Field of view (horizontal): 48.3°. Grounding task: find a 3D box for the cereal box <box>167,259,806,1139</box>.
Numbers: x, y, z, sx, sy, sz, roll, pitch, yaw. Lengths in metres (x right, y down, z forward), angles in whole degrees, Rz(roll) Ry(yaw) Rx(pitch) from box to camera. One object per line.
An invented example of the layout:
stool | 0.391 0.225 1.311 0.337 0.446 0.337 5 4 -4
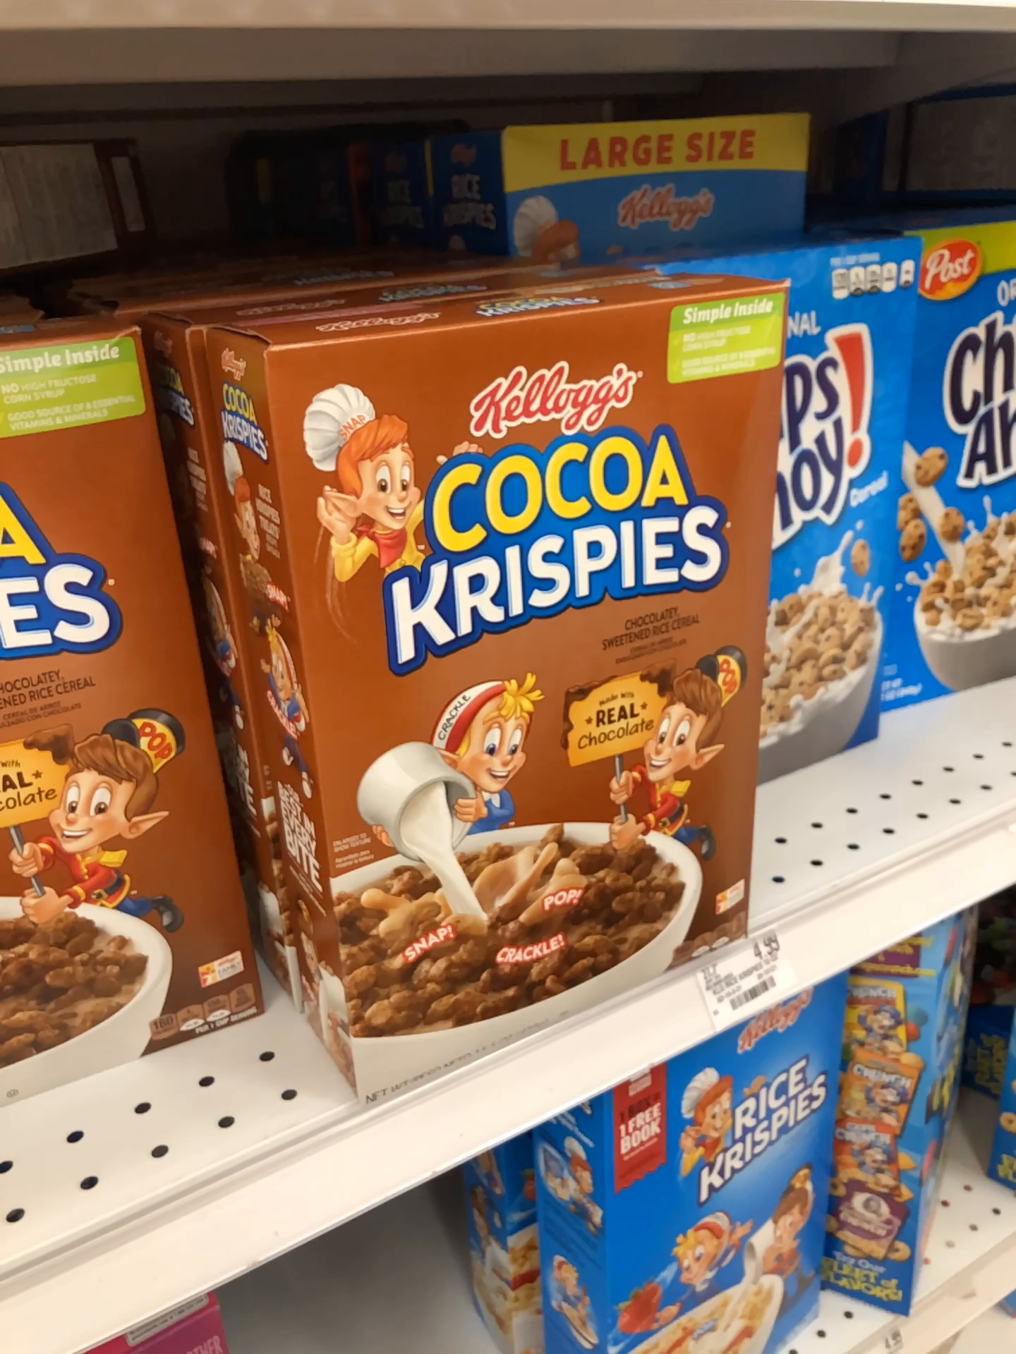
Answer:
cereal box | 0.003 0.005 0.432 0.200 0.289 0.070 -16 29 -27
